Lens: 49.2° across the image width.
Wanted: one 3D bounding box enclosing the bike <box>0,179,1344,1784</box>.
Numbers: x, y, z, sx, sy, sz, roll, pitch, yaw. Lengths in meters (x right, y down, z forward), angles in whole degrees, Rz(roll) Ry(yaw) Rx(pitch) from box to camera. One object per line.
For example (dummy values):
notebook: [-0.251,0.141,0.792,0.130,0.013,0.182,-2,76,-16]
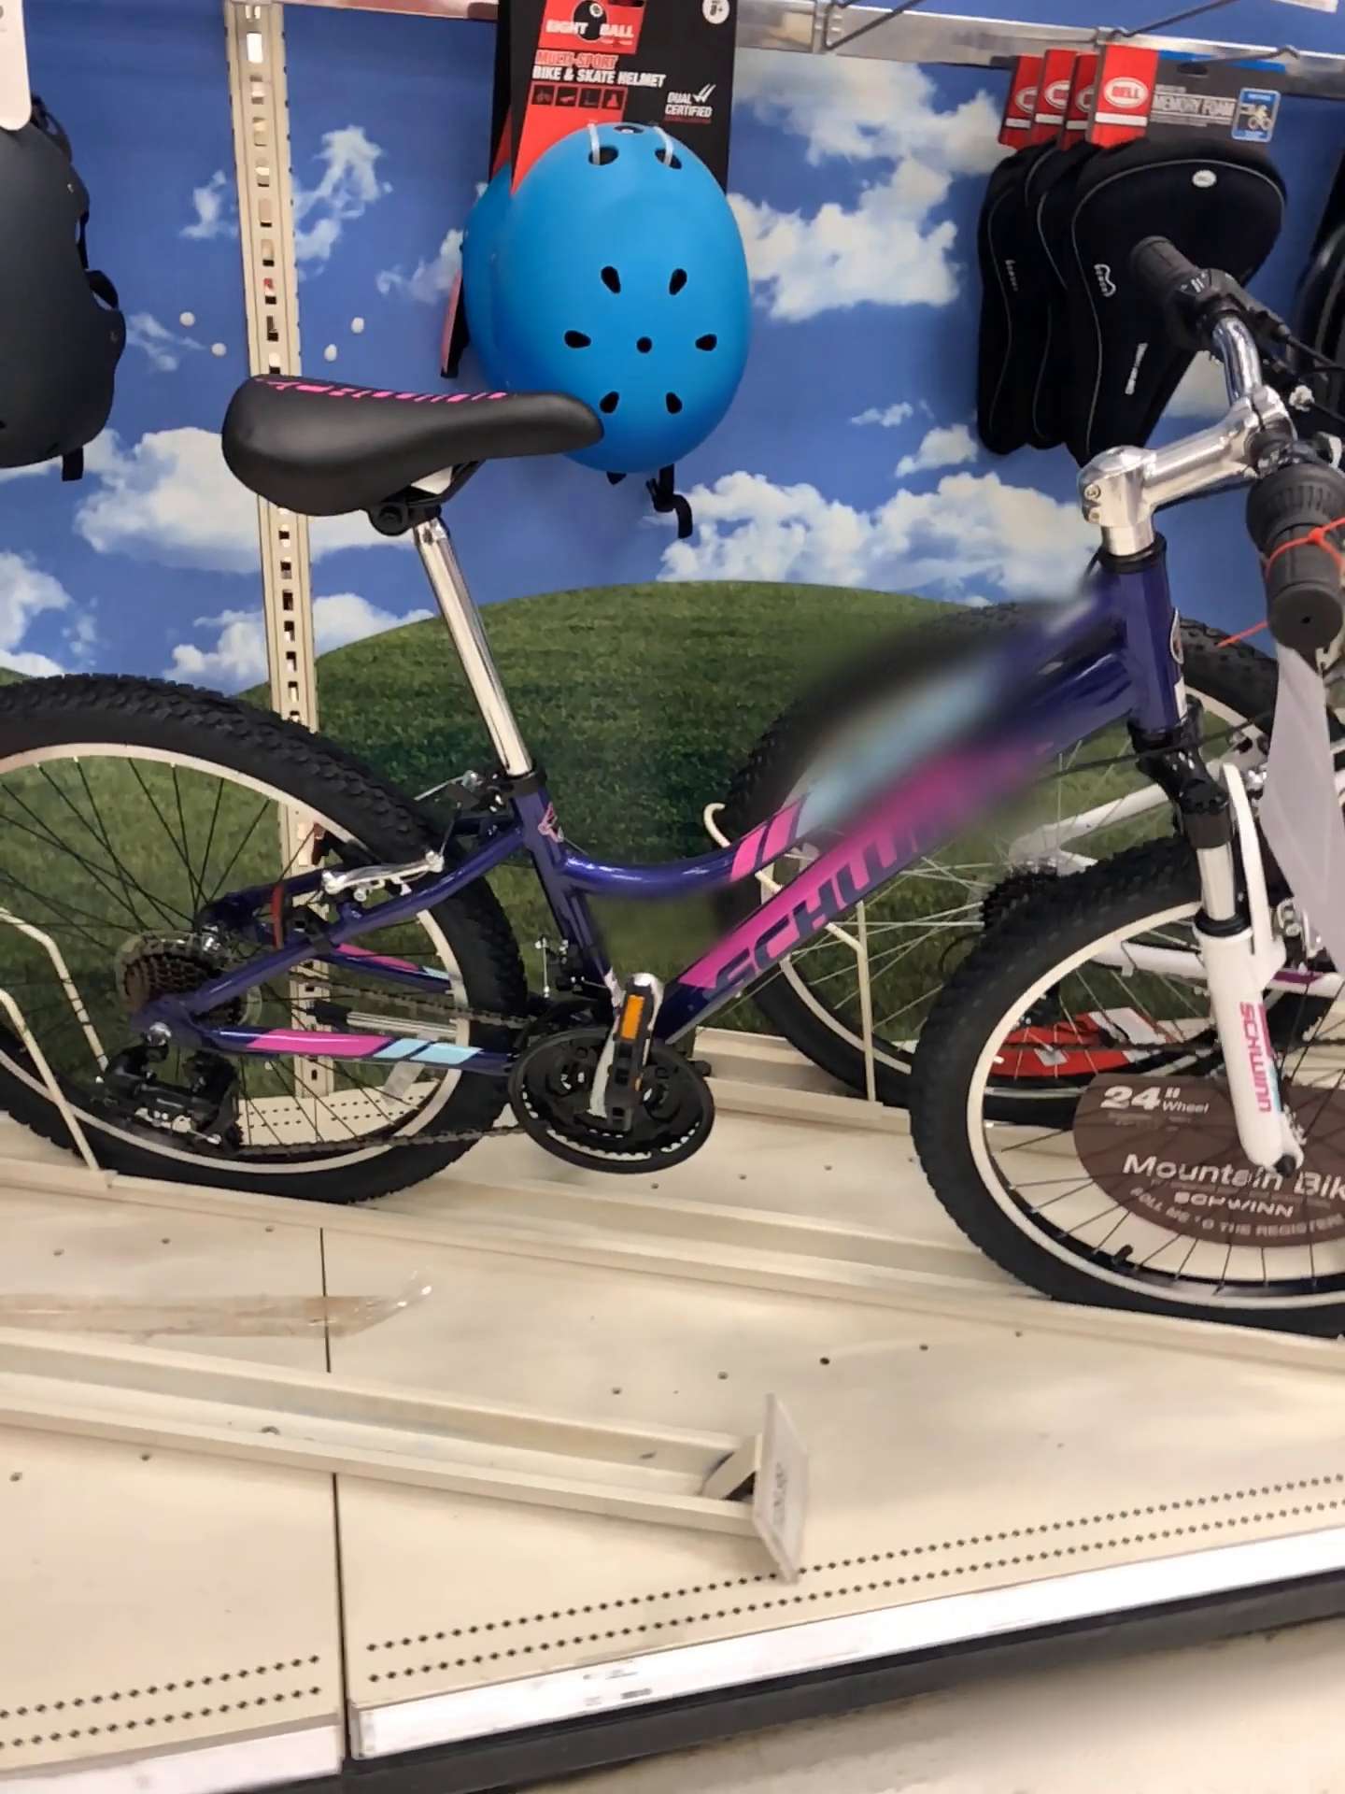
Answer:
bike: [0.180,-0.043,1.056,1.222,0.798,0.571,9,27,11]
